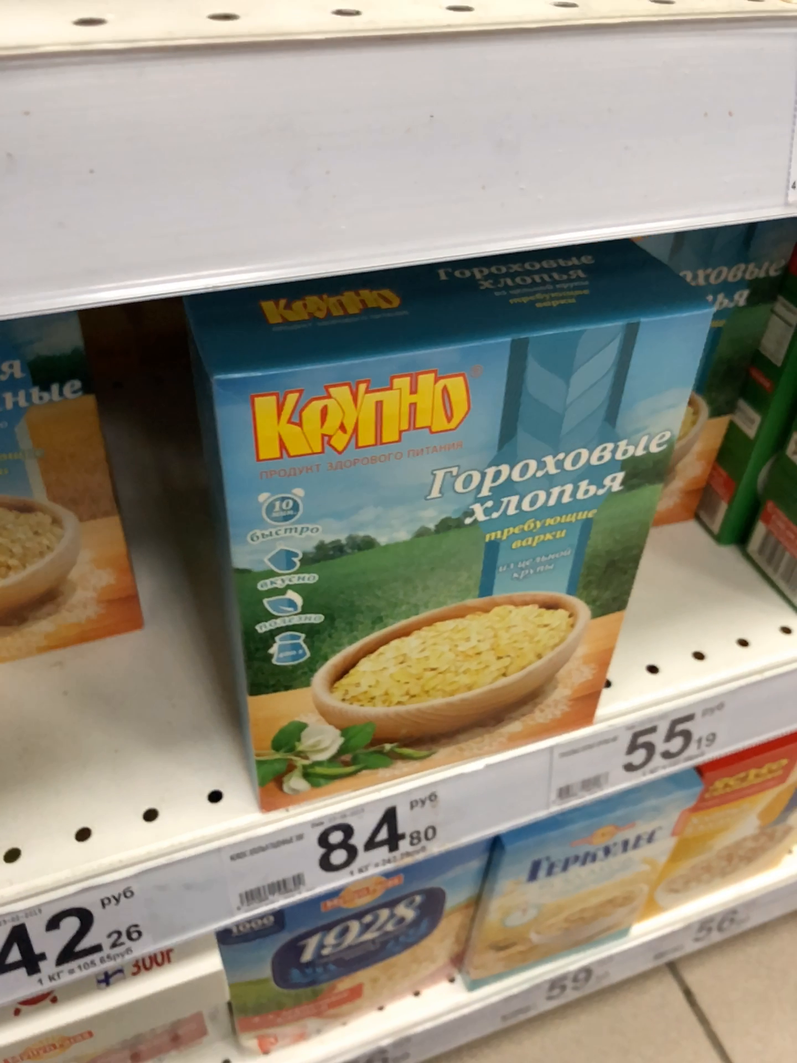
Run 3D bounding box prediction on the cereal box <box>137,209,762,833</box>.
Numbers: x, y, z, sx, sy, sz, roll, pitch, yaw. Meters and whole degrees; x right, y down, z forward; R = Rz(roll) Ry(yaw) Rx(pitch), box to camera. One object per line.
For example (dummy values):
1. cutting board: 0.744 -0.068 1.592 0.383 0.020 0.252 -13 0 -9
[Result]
1. cereal box: 0.011 0.006 0.303 0.160 0.199 0.050 -11 43 -16
